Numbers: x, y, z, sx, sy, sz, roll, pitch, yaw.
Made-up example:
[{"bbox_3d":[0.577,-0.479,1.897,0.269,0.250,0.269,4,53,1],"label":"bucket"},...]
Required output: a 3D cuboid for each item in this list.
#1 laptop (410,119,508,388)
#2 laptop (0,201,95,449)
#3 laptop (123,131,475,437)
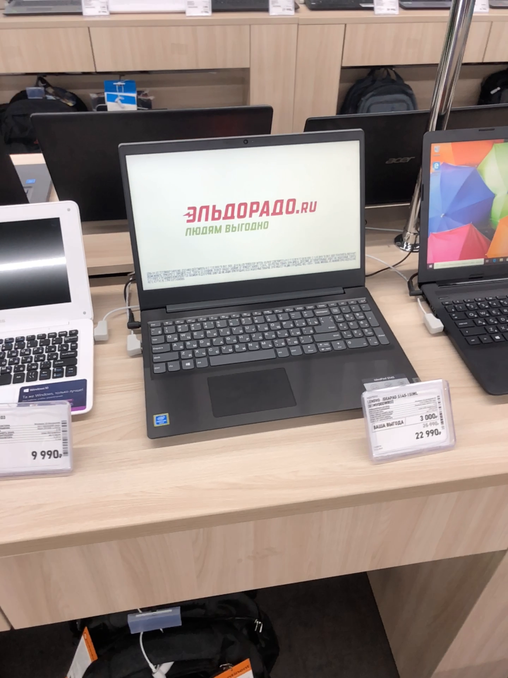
[{"bbox_3d":[0.478,-0.139,0.788,0.374,0.206,0.322,-6,41,-7],"label":"laptop"},{"bbox_3d":[-0.364,-0.037,0.728,0.279,0.139,0.290,-7,41,-9],"label":"laptop"},{"bbox_3d":[0.023,-0.098,0.743,0.354,0.212,0.342,-6,41,-9],"label":"laptop"}]
